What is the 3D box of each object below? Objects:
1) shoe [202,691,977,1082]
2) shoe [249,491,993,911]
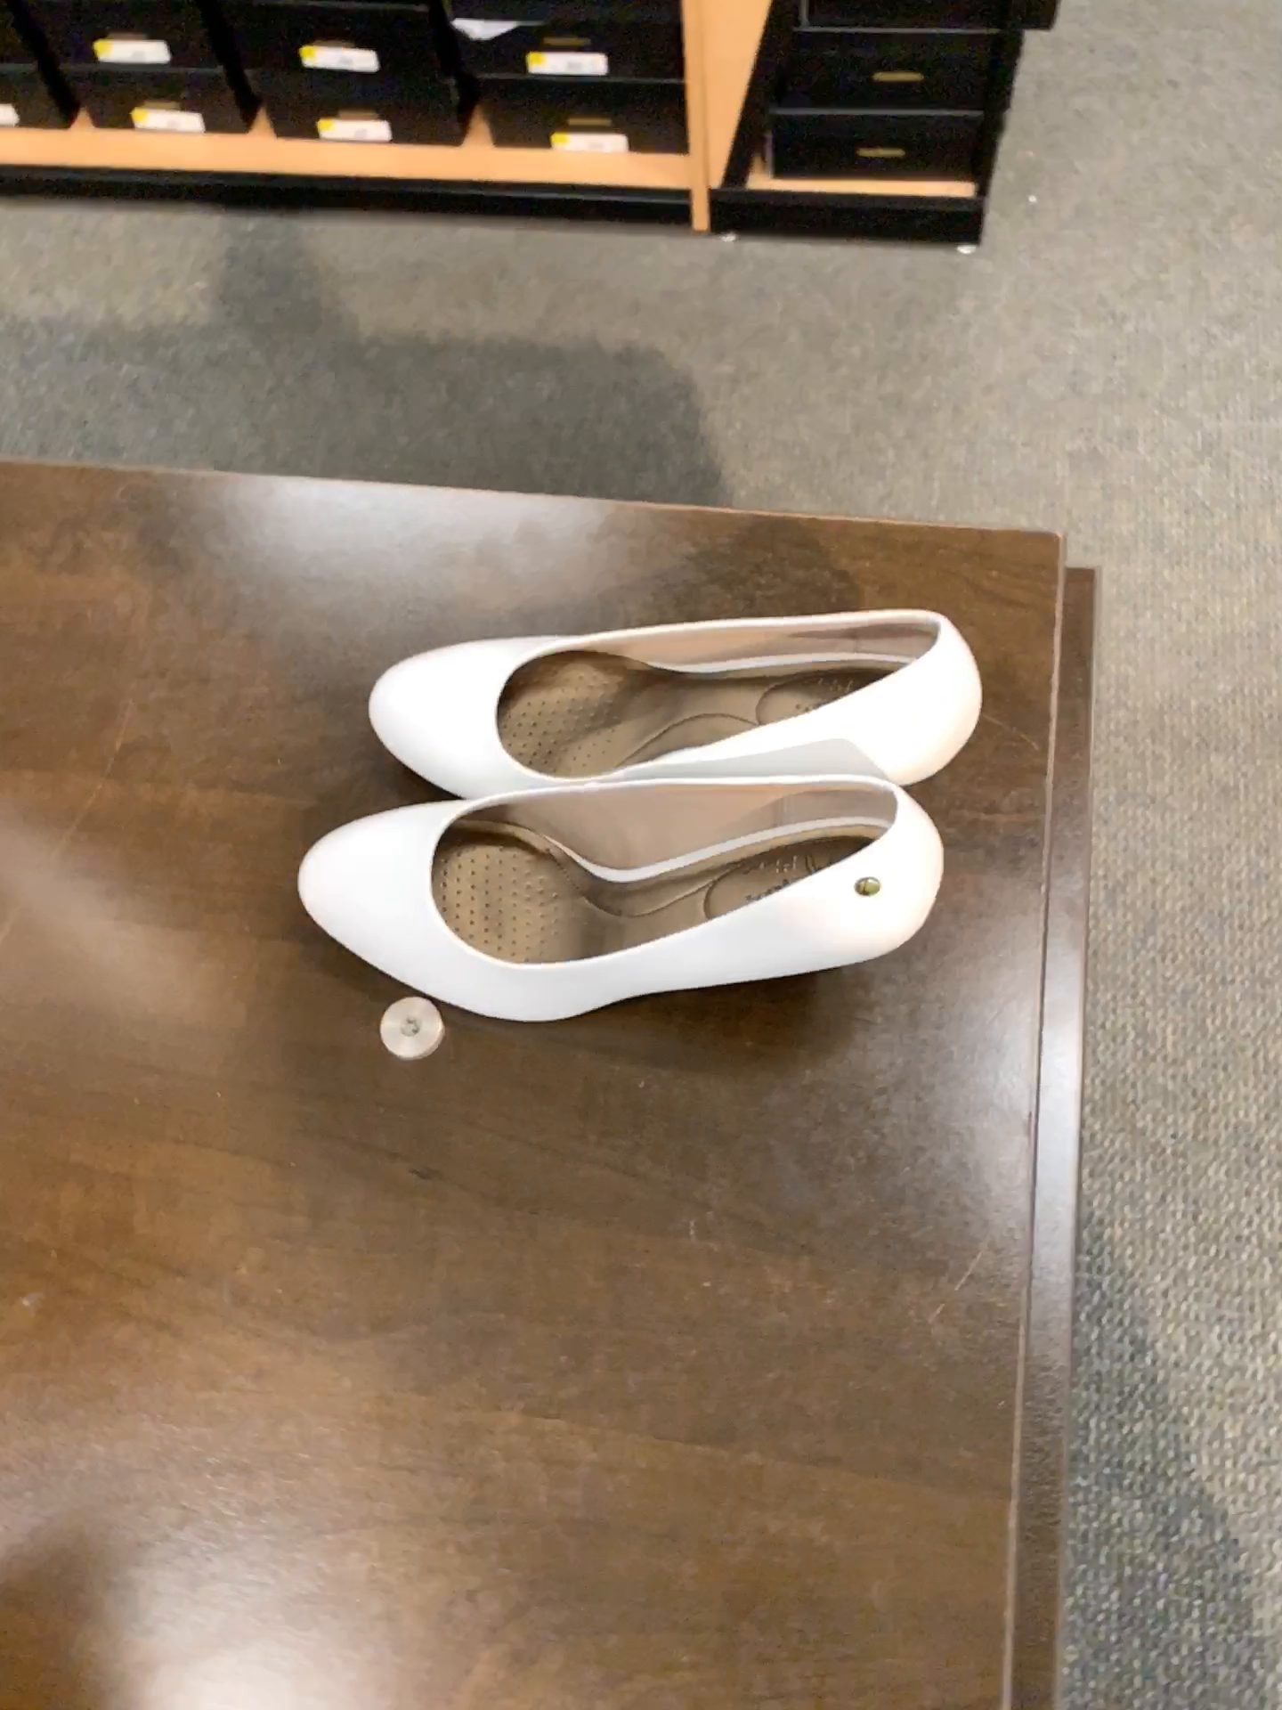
[{"bbox_3d":[-0.013,0.014,0.509,0.260,0.110,0.090,6,67,8],"label":"shoe"},{"bbox_3d":[-0.004,-0.060,0.534,0.260,0.110,0.090,9,68,10],"label":"shoe"}]
